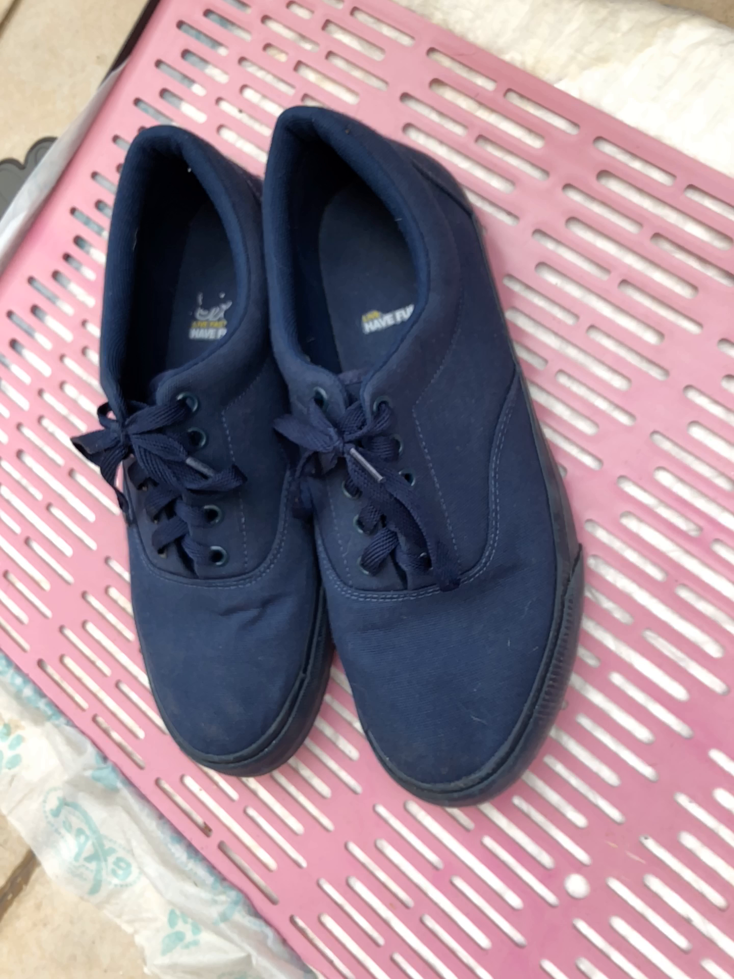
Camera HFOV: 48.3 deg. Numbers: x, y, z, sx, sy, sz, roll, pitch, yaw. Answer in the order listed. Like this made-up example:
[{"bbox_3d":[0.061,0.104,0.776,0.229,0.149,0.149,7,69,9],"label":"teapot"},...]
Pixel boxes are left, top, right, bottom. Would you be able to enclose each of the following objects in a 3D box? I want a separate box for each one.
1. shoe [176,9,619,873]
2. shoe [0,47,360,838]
[{"bbox_3d":[0.015,-0.012,0.316,0.107,0.100,0.270,-11,82,19],"label":"shoe"},{"bbox_3d":[-0.076,-0.015,0.342,0.107,0.100,0.270,-4,84,20],"label":"shoe"}]
